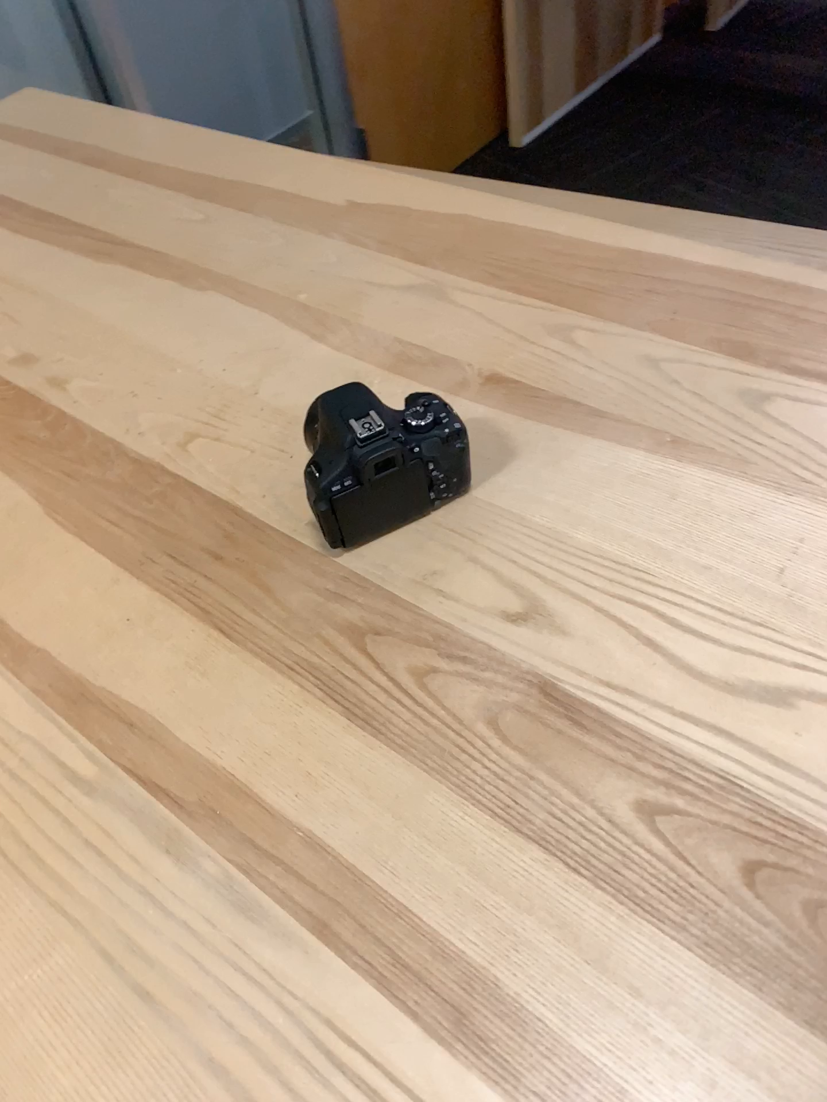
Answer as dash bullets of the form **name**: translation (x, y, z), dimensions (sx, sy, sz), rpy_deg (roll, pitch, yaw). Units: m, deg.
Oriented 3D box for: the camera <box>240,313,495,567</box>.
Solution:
- **camera**: translation (-0.033, -0.089, 0.654), dimensions (0.145, 0.100, 0.121), rpy_deg (-25, 49, -13)
